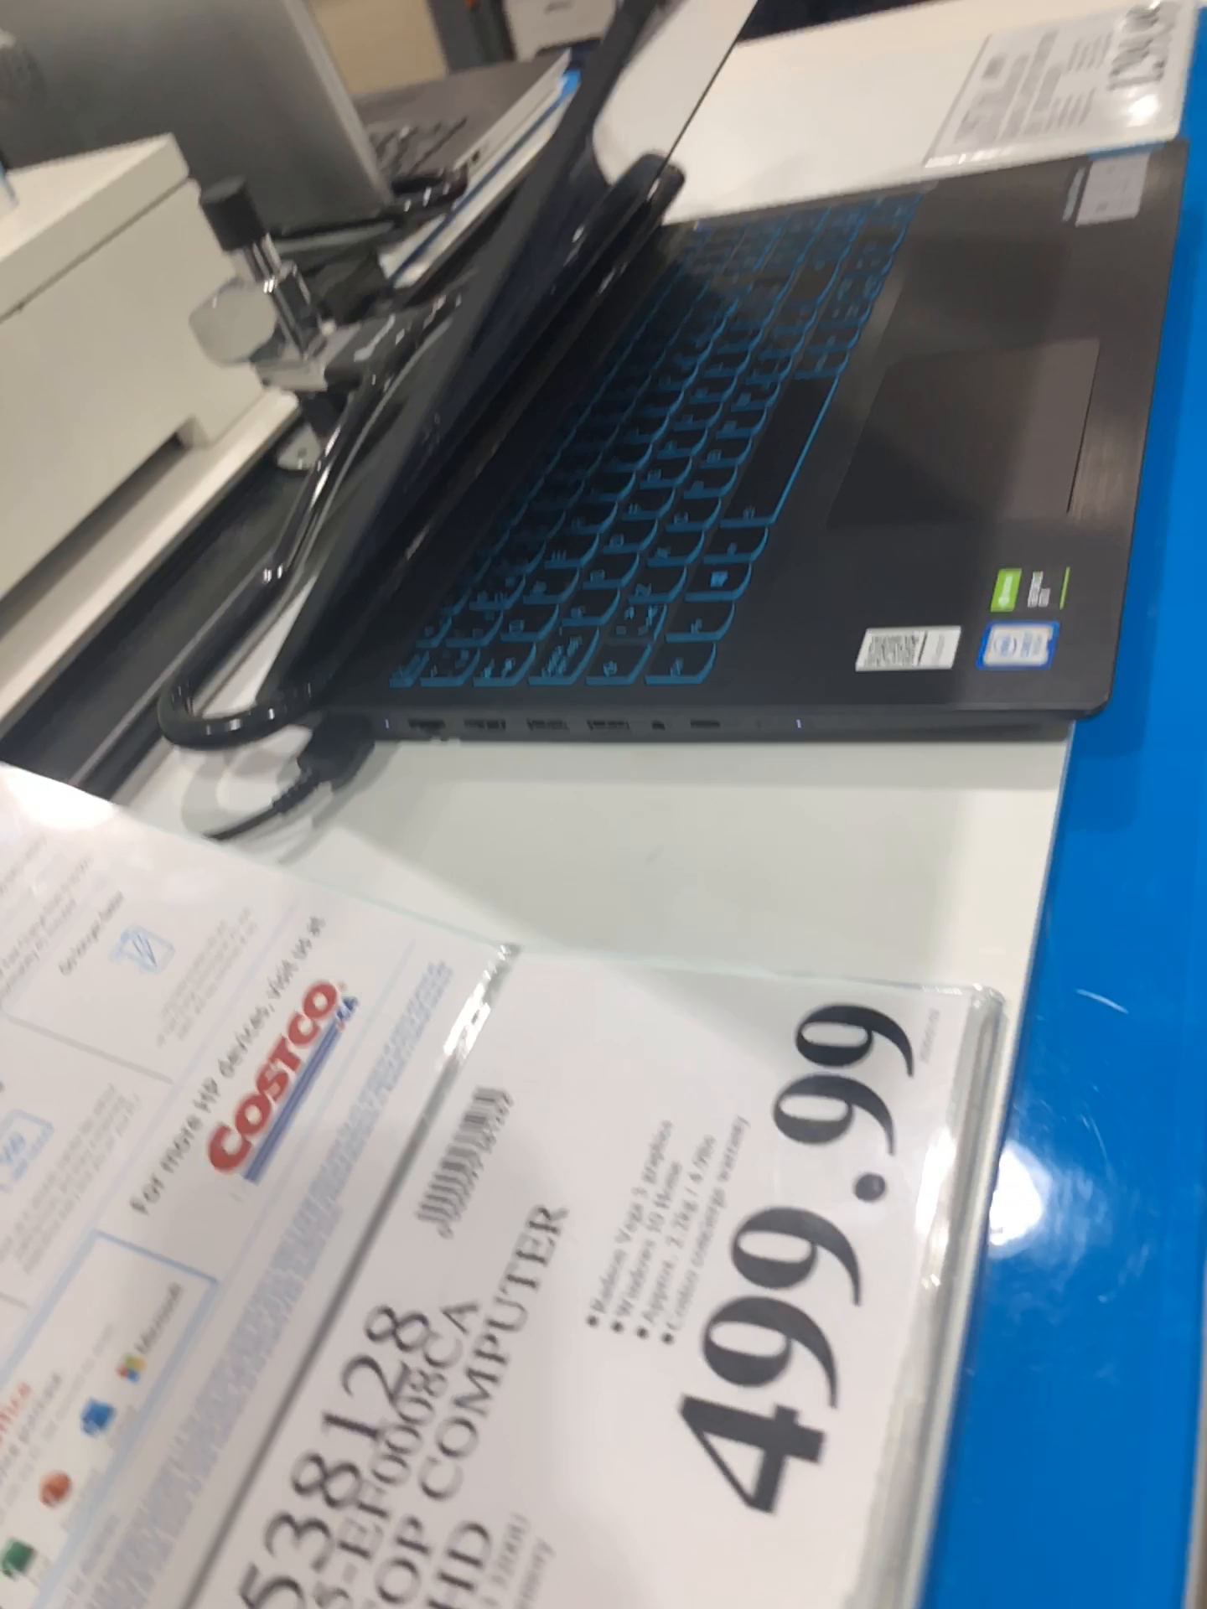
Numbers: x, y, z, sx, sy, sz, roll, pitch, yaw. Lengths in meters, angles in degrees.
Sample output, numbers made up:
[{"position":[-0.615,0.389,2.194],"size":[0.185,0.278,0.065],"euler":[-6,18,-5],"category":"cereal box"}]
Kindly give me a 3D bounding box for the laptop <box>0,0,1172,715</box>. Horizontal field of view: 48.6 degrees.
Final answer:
[{"position":[0.042,-0.208,0.425],"size":[0.240,0.170,0.345],"euler":[2,45,25],"category":"laptop"}]
